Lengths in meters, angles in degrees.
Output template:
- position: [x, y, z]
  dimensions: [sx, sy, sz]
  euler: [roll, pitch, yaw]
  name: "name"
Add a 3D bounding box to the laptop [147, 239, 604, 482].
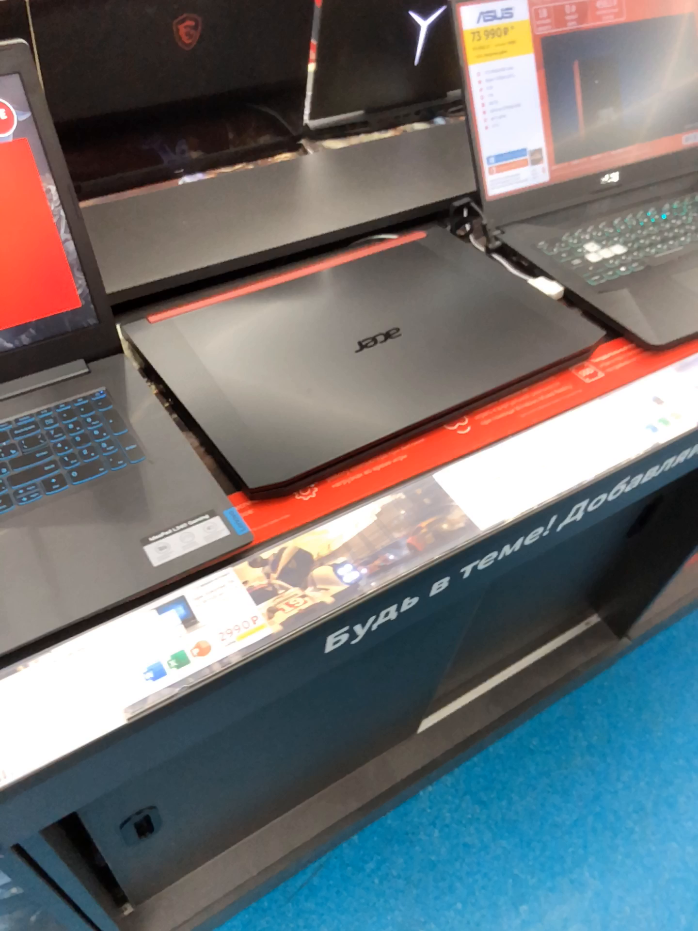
- position: [0.029, -0.128, 0.760]
  dimensions: [0.370, 0.002, 0.256]
  euler: [-25, 49, -27]
  name: "laptop"
